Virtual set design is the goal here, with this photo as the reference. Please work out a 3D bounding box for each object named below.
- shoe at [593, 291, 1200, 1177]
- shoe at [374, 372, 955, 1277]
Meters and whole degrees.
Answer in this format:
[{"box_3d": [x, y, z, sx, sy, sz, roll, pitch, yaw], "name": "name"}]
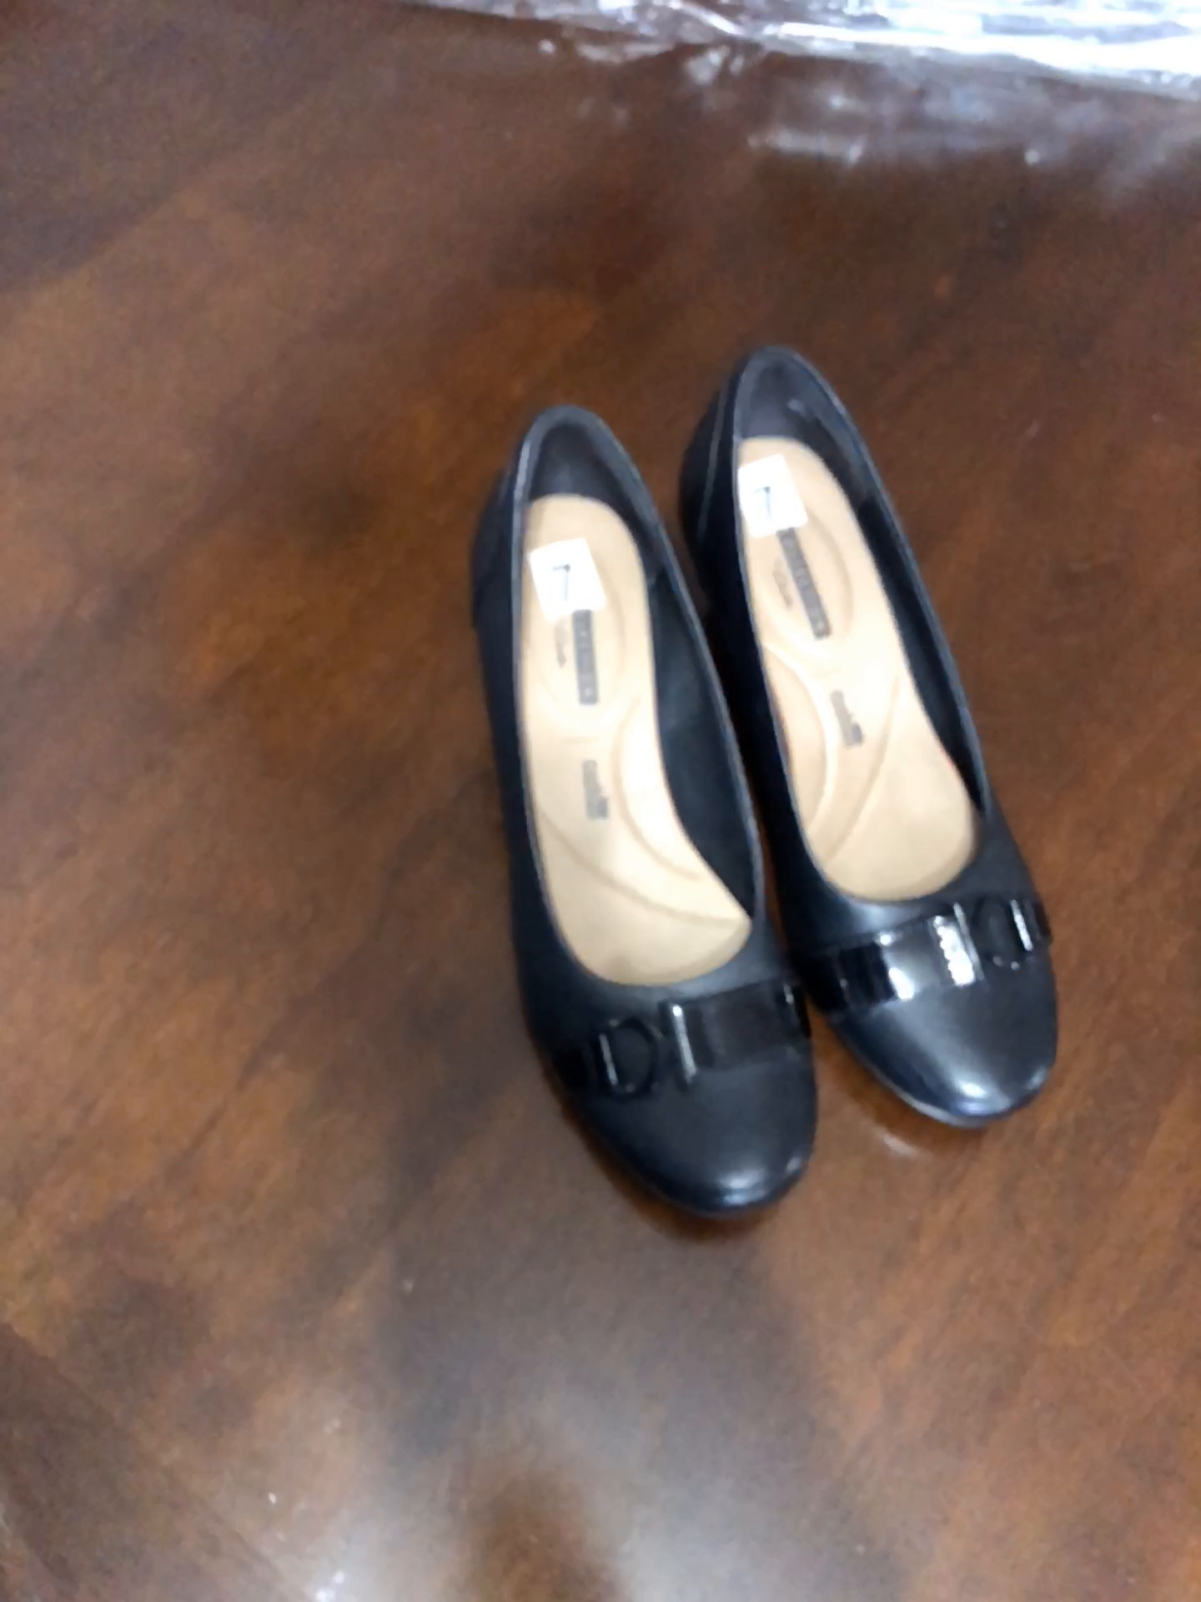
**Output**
[{"box_3d": [0.084, -0.025, 0.435, 0.090, 0.110, 0.250, -18, 65, -10], "name": "shoe"}, {"box_3d": [0.006, 0.004, 0.428, 0.090, 0.110, 0.250, -14, 64, -9], "name": "shoe"}]
